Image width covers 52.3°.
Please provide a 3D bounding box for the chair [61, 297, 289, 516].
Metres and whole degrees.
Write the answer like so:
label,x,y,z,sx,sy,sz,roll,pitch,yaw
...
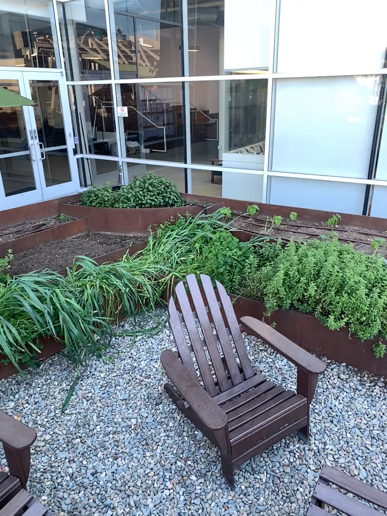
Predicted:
label,x,y,z,sx,sy,sz,roll,pitch,yaw
chair,-0.177,0.987,2.340,1.000,0.995,1.005,-9,24,-17
